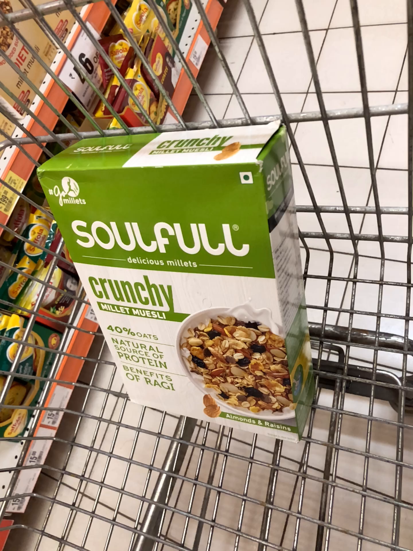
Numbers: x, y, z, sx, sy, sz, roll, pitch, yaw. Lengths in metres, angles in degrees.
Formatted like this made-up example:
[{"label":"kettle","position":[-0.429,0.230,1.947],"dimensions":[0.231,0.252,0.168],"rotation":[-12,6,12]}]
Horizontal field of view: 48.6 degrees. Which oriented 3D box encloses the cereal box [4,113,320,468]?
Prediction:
[{"label":"cereal box","position":[-0.016,0.018,0.341],"dimensions":[0.170,0.239,0.070],"rotation":[5,36,26]}]
